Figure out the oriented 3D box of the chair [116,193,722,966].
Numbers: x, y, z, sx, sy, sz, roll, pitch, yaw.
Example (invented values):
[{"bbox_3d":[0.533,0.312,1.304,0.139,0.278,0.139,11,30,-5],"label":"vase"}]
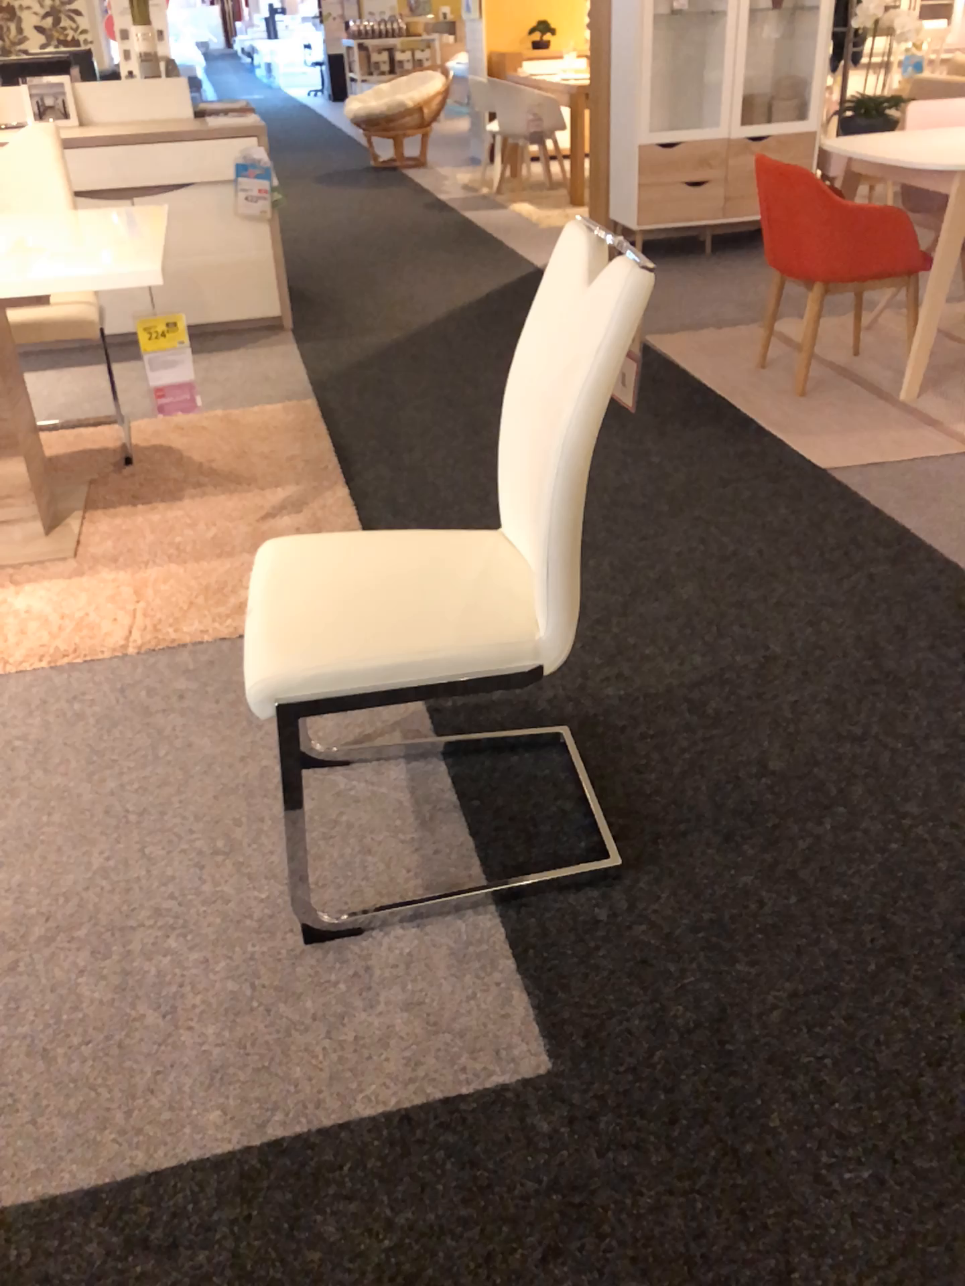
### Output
[{"bbox_3d":[-0.084,-0.112,1.561,0.631,0.915,0.563,-7,31,-8],"label":"chair"}]
